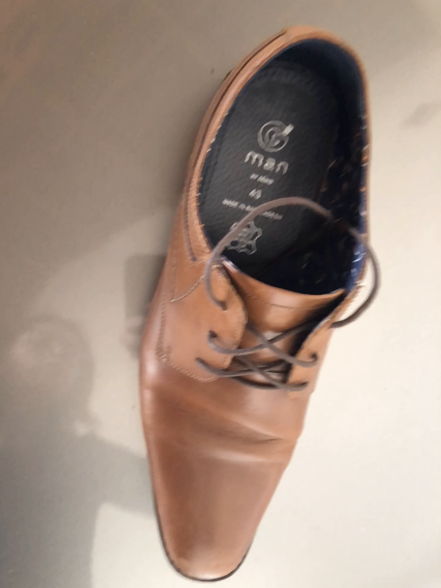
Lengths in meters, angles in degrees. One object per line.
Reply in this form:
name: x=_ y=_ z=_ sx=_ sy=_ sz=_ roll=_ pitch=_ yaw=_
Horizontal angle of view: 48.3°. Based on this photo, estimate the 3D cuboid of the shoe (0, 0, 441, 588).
shoe: x=0.016 y=0.010 z=0.254 sx=0.130 sy=0.090 sz=0.340 roll=16 pitch=88 yaw=2
